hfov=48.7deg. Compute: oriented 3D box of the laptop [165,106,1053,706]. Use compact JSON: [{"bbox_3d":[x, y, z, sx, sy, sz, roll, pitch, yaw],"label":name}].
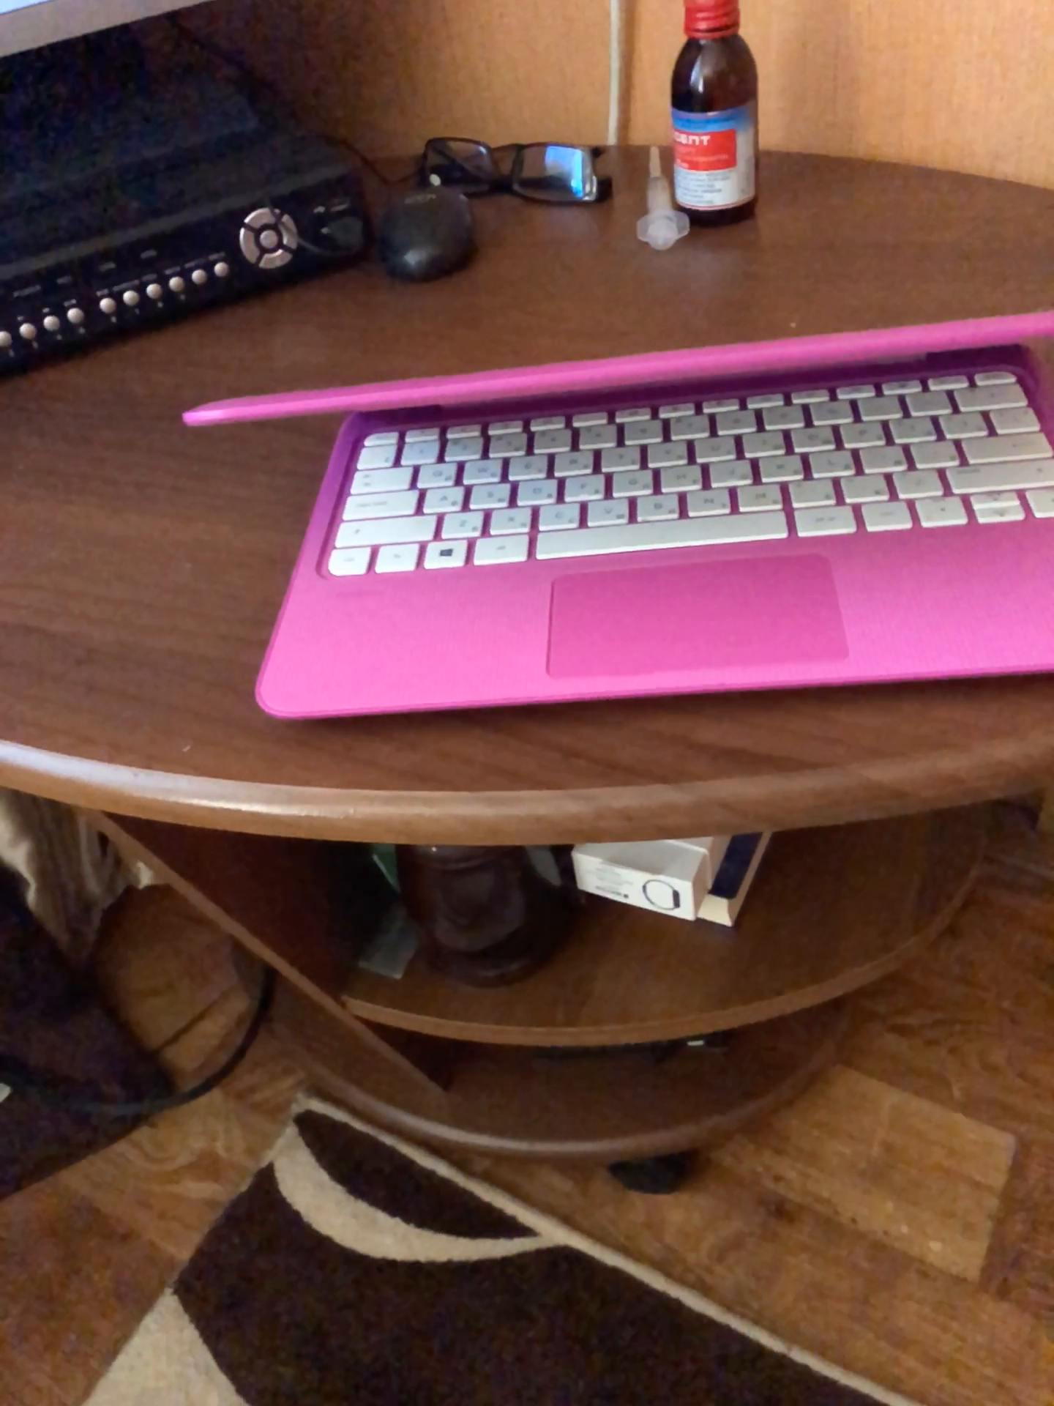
[{"bbox_3d":[0.048,-0.101,0.374,0.264,0.081,0.187,-4,43,8],"label":"laptop"}]
